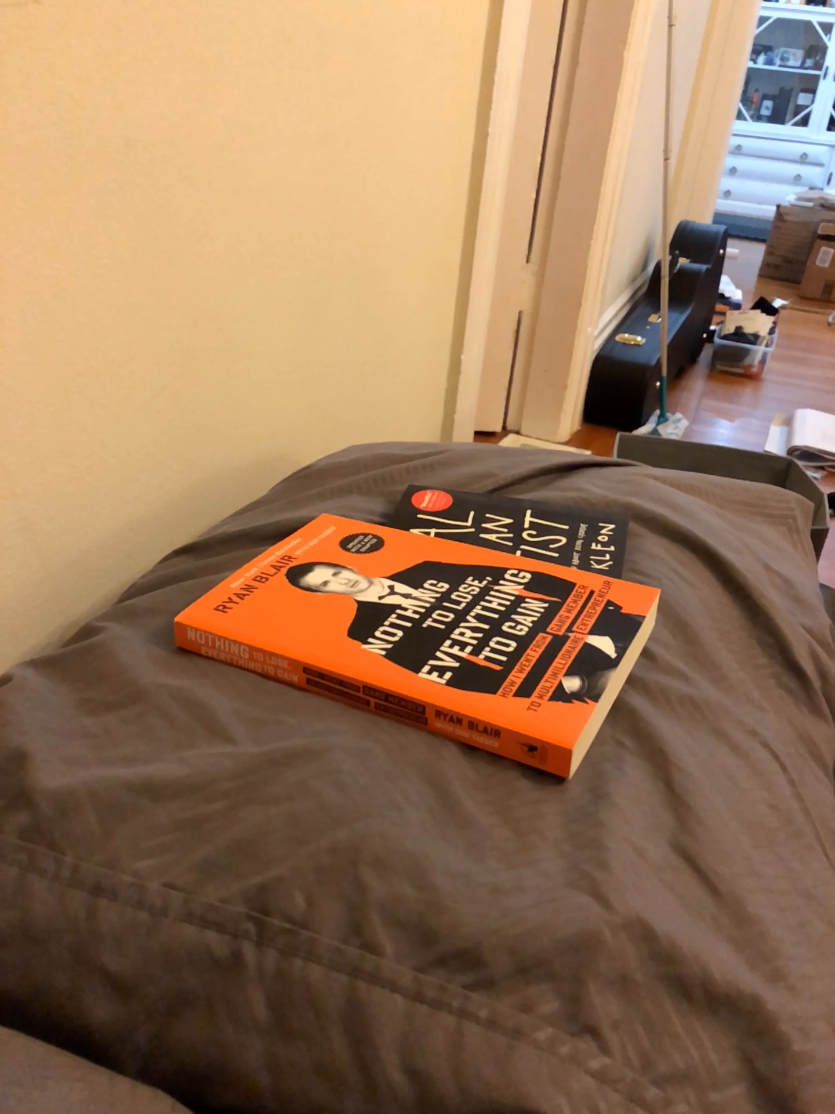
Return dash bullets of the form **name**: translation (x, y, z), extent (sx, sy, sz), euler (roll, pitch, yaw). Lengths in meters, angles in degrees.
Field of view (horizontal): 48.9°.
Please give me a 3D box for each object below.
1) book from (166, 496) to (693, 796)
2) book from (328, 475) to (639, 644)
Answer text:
- **book**: translation (0.014, 0.030, 0.491), extent (0.230, 0.020, 0.171), euler (15, 29, 21)
- **book**: translation (0.049, -0.006, 0.569), extent (0.170, 0.020, 0.151), euler (7, 27, 10)
